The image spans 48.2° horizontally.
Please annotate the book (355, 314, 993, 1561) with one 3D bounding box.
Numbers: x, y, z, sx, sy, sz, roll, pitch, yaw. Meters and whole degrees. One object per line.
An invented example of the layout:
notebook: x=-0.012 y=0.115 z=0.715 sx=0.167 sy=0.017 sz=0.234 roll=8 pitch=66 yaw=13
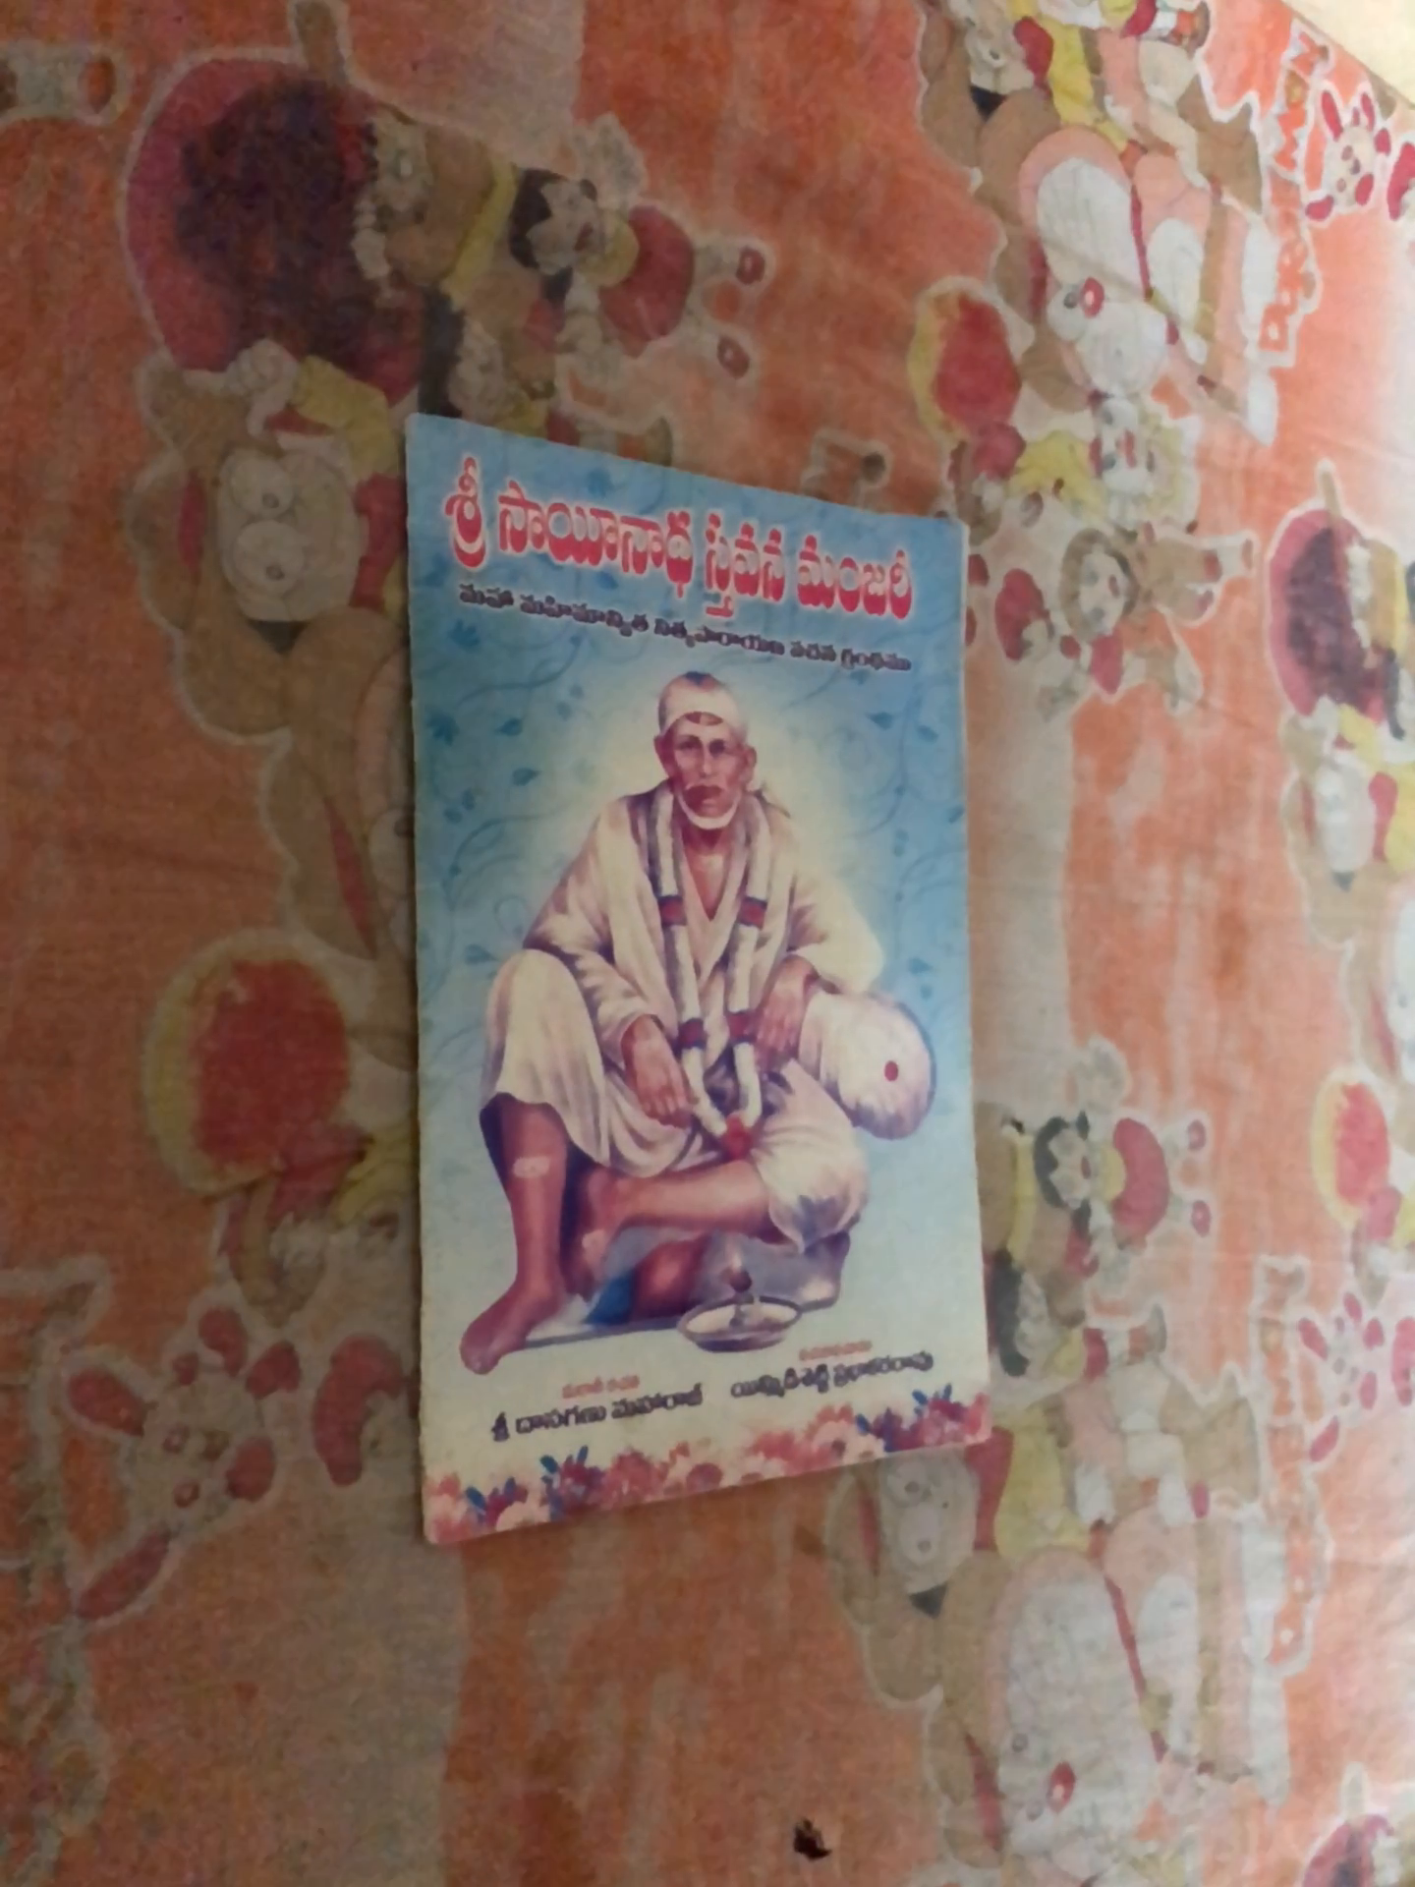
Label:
book: x=-0.001 y=-0.001 z=0.326 sx=0.141 sy=0.020 sz=0.220 roll=3 pitch=84 yaw=-35
